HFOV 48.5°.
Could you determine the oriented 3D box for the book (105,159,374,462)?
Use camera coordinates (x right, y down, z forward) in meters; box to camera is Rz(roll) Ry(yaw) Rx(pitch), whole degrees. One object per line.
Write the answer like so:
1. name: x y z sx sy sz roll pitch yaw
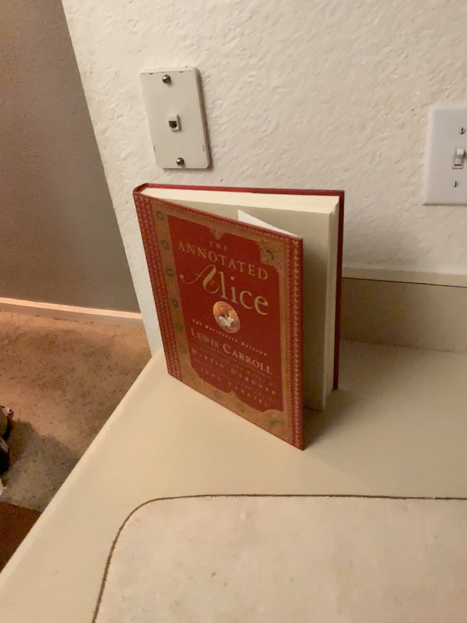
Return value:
1. book: 0.016 -0.012 0.597 0.230 0.260 0.150 18 41 33
